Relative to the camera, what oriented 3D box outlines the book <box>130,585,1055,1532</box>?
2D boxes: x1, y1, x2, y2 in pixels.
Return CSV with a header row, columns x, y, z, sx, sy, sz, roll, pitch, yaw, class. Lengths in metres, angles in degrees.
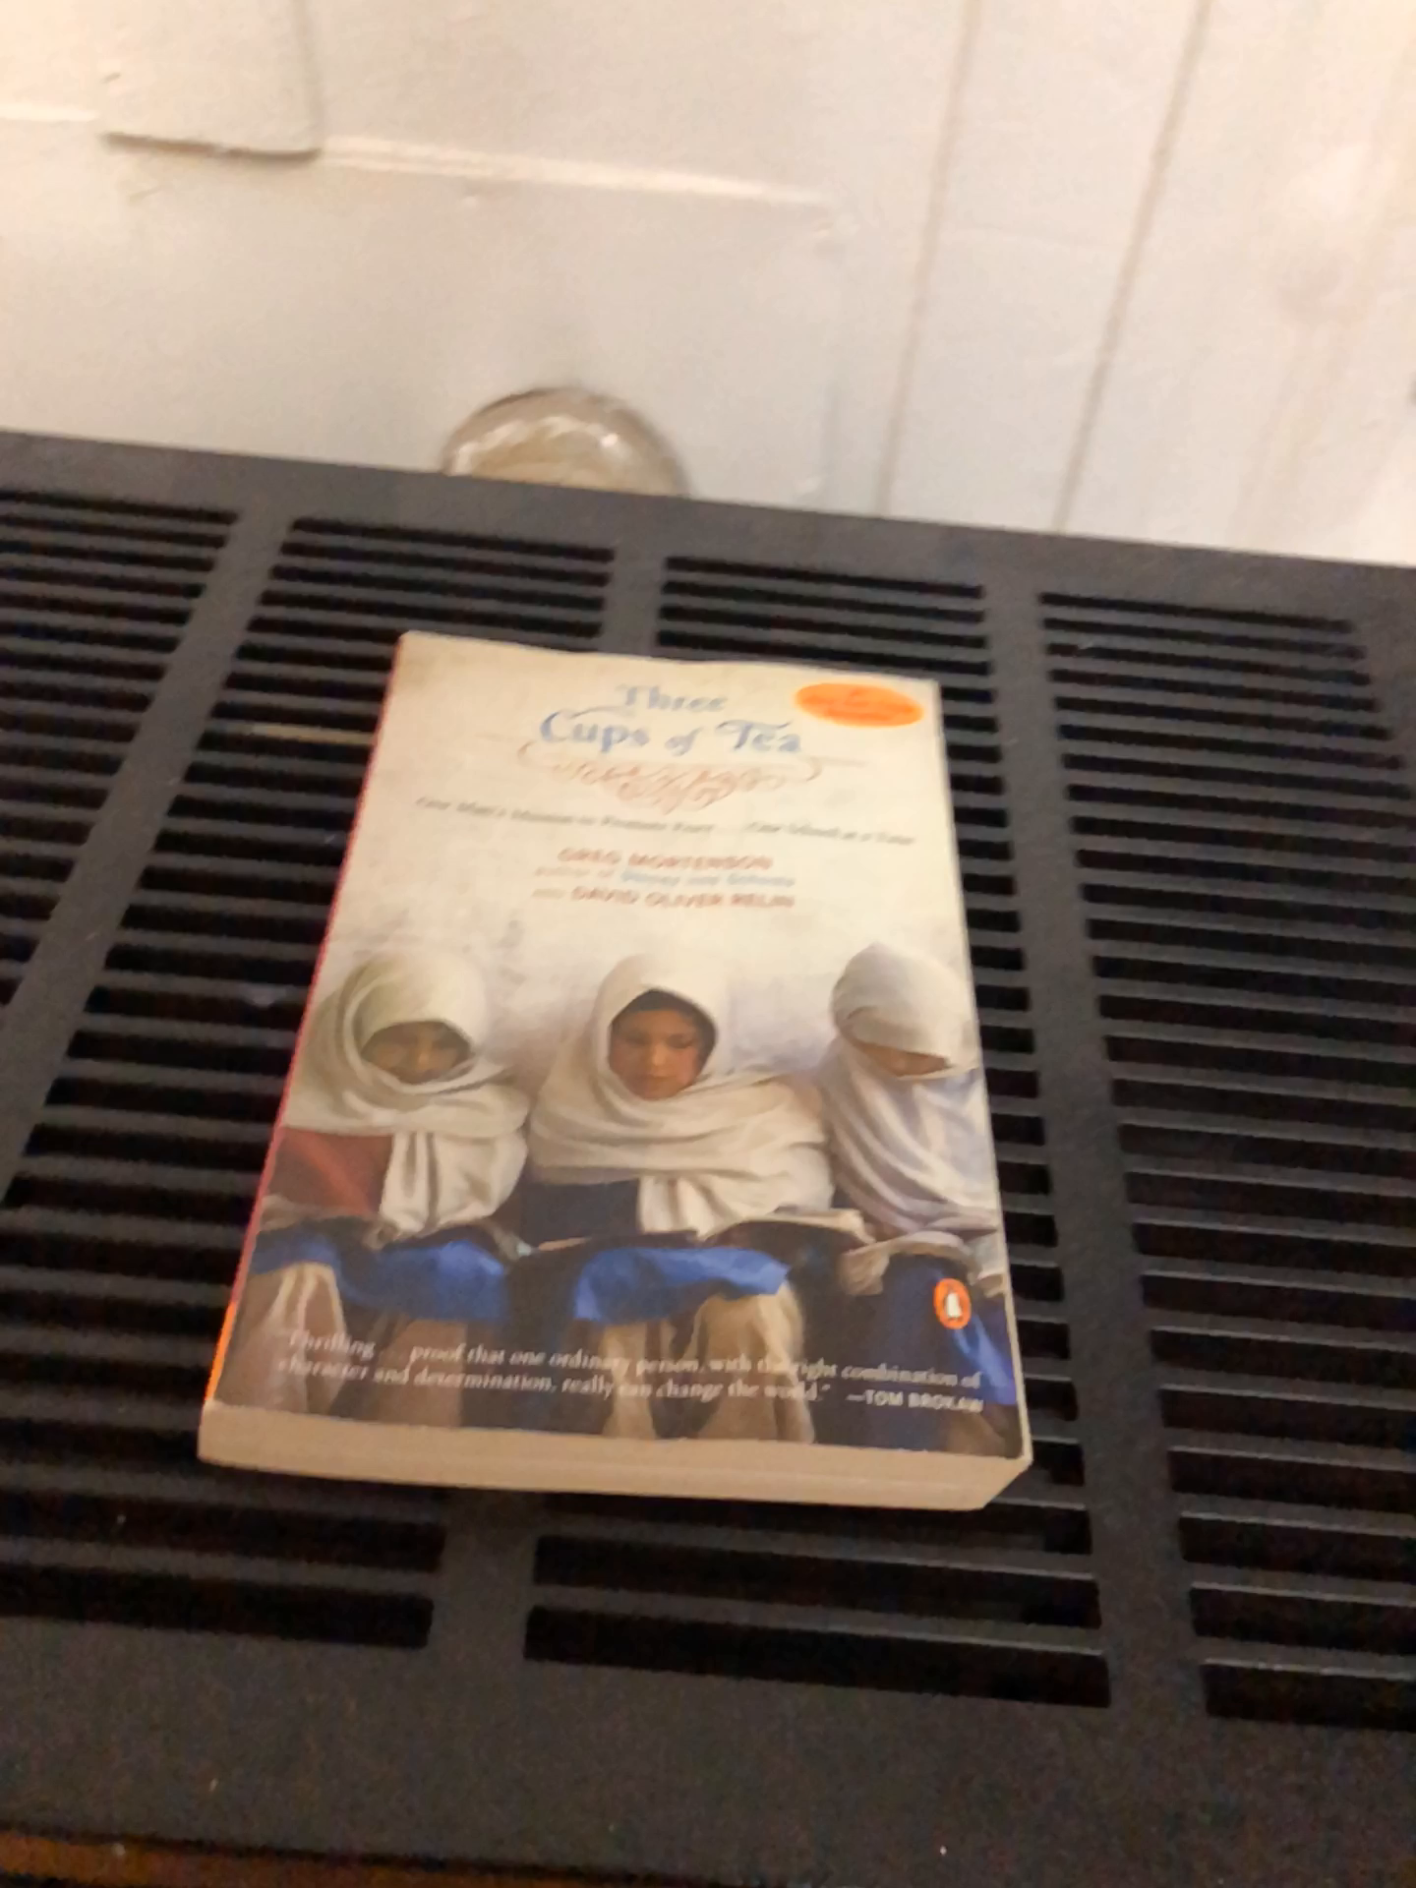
x,y,z,sx,sy,sz,roll,pitch,yaw,class
-0.017,0.005,0.325,0.140,0.030,0.221,3,46,-3,book
